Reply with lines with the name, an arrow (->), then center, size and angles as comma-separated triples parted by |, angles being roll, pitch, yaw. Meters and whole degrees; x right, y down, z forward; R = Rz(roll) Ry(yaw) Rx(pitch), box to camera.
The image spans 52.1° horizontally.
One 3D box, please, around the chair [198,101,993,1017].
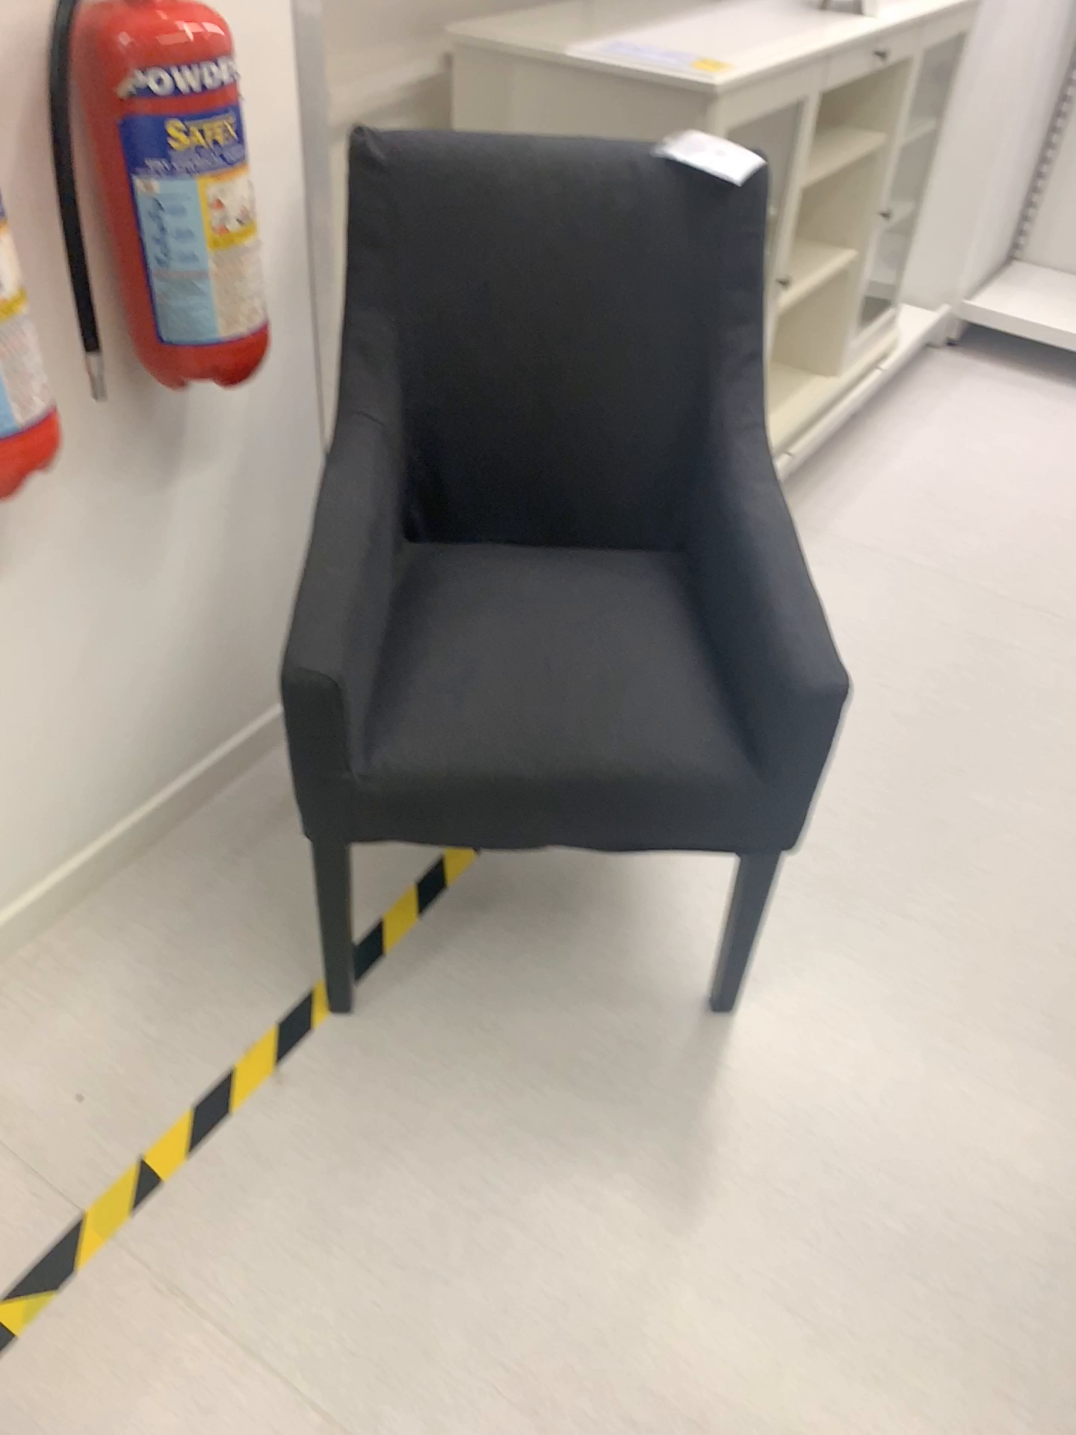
chair -> 0.015, -0.167, 1.377 | 0.610, 0.915, 0.633 | 2, 41, -3
